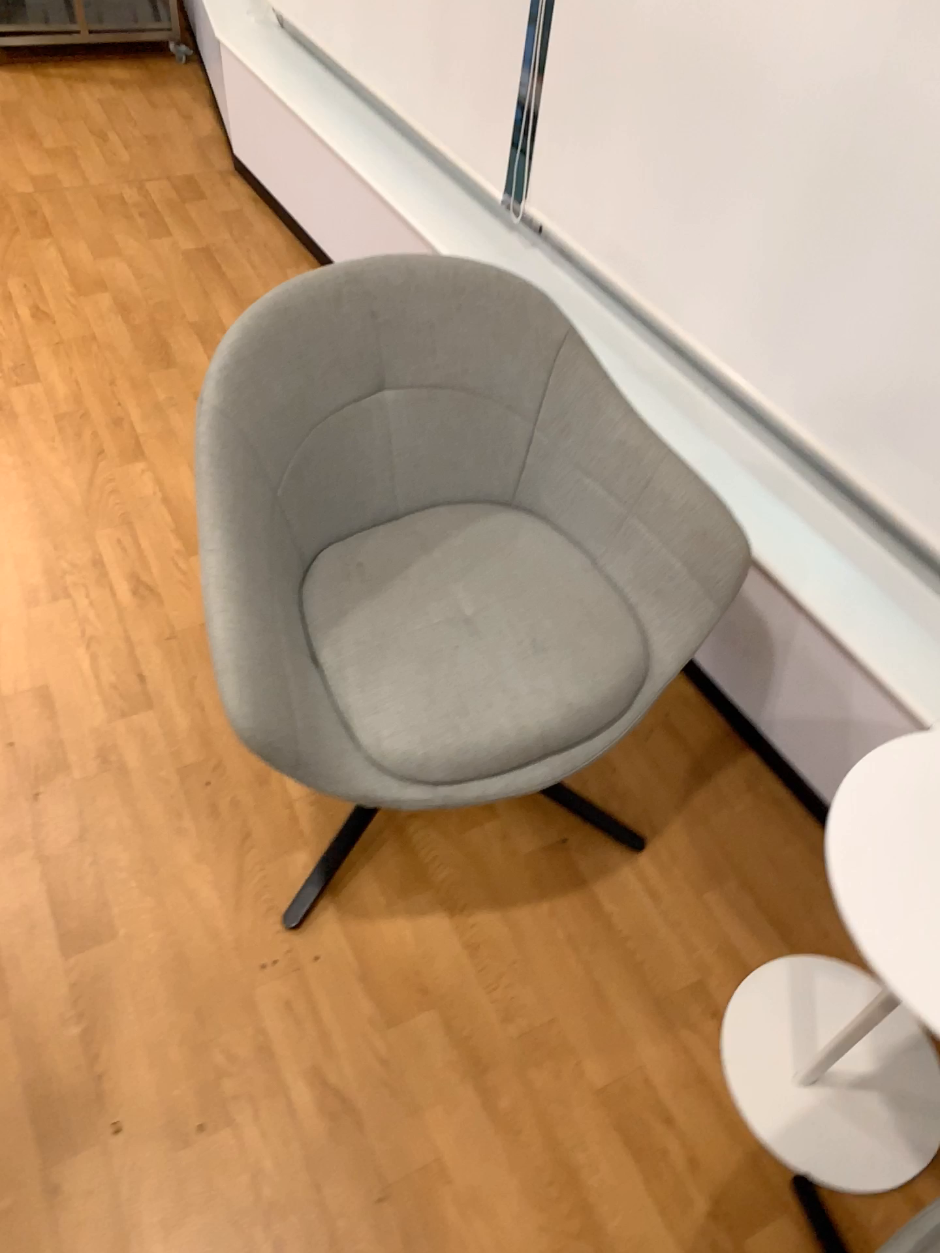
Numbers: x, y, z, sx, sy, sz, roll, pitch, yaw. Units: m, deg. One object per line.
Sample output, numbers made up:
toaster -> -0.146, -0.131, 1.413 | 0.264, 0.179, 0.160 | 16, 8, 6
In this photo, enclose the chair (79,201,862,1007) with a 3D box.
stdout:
chair -> -0.066, -0.044, 1.375 | 0.671, 0.754, 0.684 | -17, 53, -20
